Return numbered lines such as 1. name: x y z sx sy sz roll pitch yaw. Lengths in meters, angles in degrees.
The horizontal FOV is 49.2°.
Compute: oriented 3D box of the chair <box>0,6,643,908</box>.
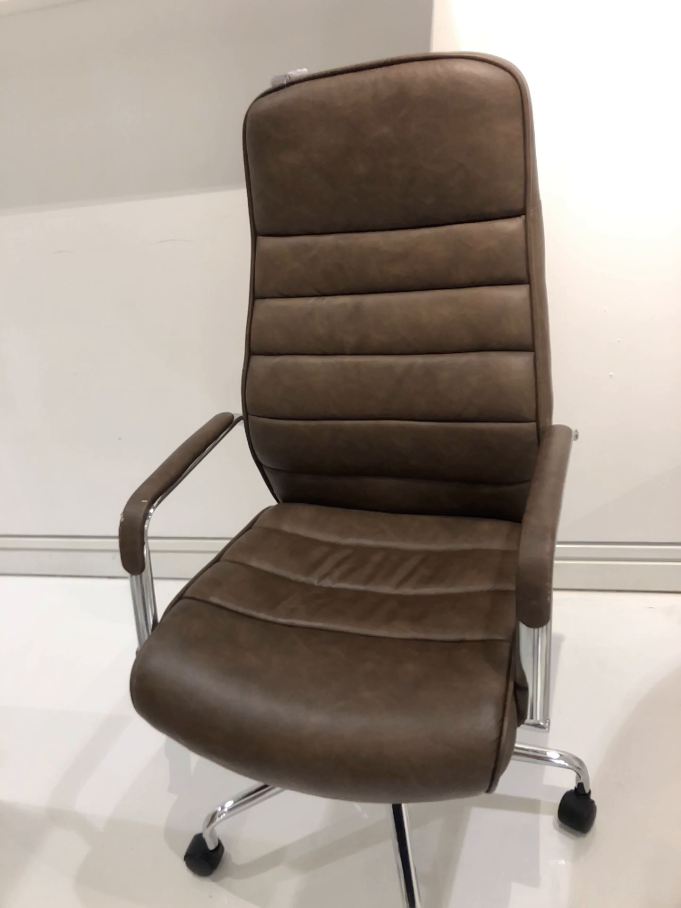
1. chair: 0.031 0.078 1.103 0.701 1.172 0.785 3 30 23
